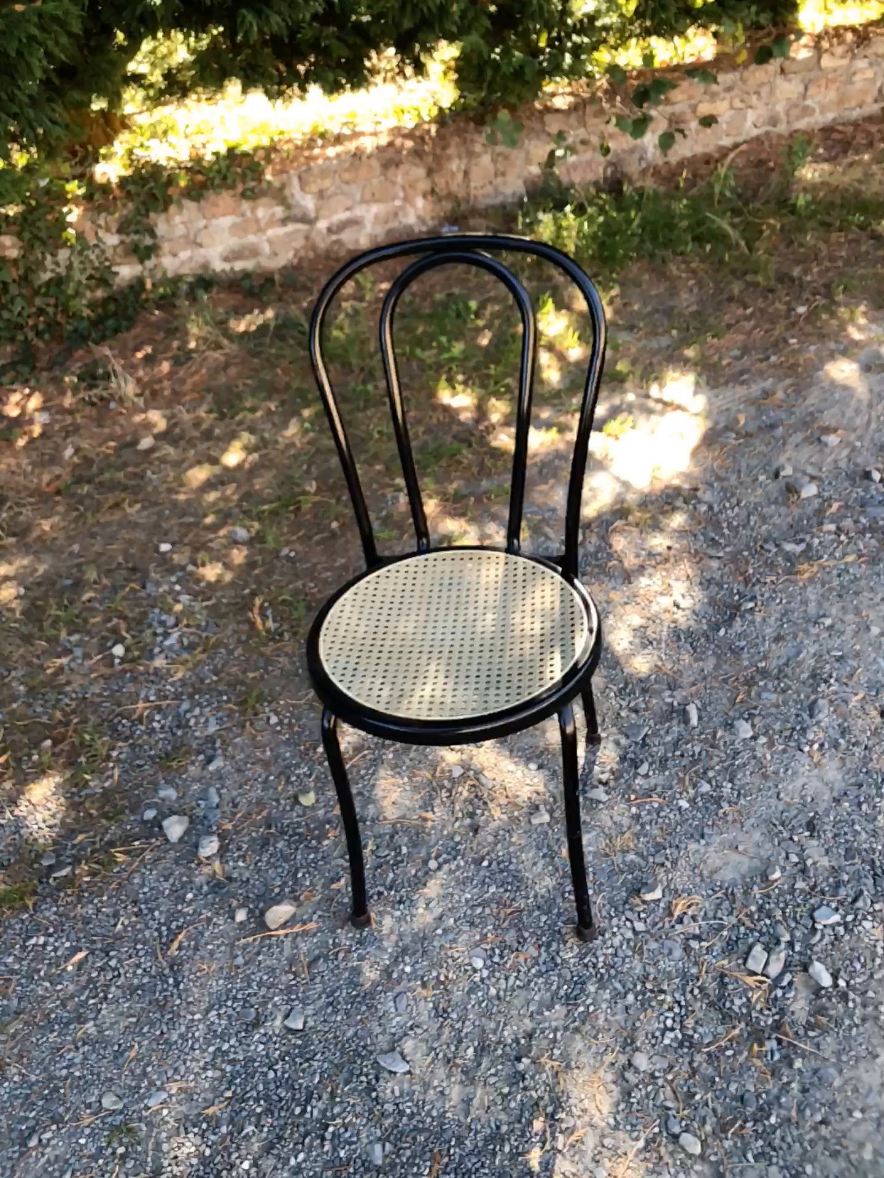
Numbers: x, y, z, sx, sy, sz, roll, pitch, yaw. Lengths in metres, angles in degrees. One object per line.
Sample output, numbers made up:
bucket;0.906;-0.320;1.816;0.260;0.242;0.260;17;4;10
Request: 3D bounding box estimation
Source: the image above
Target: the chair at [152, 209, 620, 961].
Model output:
chair;0.014;0.016;1.312;0.430;0.875;0.473;-1;34;9
